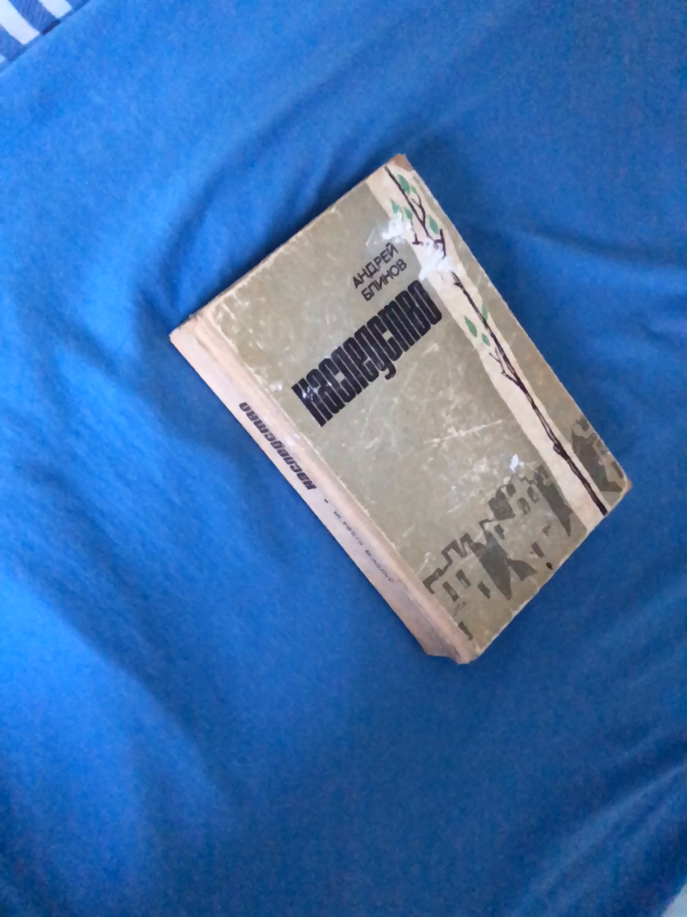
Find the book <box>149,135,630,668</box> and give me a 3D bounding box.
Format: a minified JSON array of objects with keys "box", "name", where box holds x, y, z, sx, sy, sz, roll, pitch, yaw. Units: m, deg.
[{"box":[0.030,-0.024,0.355,0.130,0.040,0.200,-44,104,-19],"name":"book"}]
